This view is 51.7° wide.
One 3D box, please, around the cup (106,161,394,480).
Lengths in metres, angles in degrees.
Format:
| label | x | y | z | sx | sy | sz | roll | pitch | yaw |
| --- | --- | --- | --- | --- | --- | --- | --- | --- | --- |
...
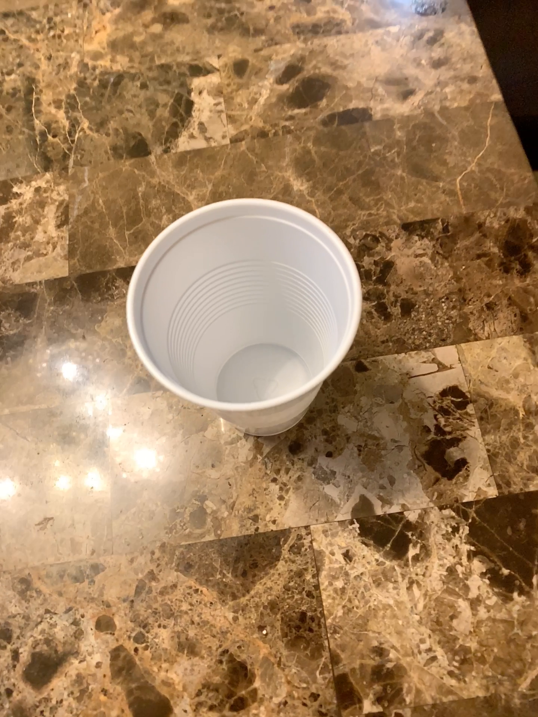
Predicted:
| label | x | y | z | sx | sy | sz | roll | pitch | yaw |
| --- | --- | --- | --- | --- | --- | --- | --- | --- | --- |
| cup | -0.006 | -0.009 | 0.223 | 0.077 | 0.084 | 0.081 | -2 | 68 | 4 |
